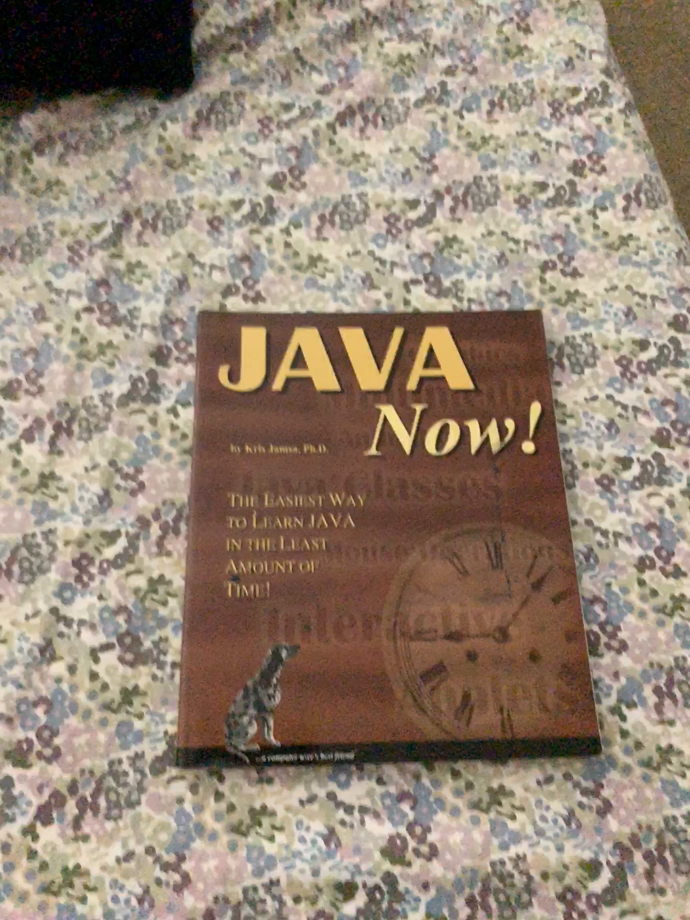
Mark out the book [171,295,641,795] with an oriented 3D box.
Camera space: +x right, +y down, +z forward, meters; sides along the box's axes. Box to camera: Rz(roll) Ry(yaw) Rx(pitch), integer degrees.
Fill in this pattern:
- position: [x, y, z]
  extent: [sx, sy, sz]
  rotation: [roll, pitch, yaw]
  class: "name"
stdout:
- position: [0.026, 0.033, 0.389]
  extent: [0.220, 0.030, 0.260]
  rotation: [0, 71, -4]
  class: "book"
